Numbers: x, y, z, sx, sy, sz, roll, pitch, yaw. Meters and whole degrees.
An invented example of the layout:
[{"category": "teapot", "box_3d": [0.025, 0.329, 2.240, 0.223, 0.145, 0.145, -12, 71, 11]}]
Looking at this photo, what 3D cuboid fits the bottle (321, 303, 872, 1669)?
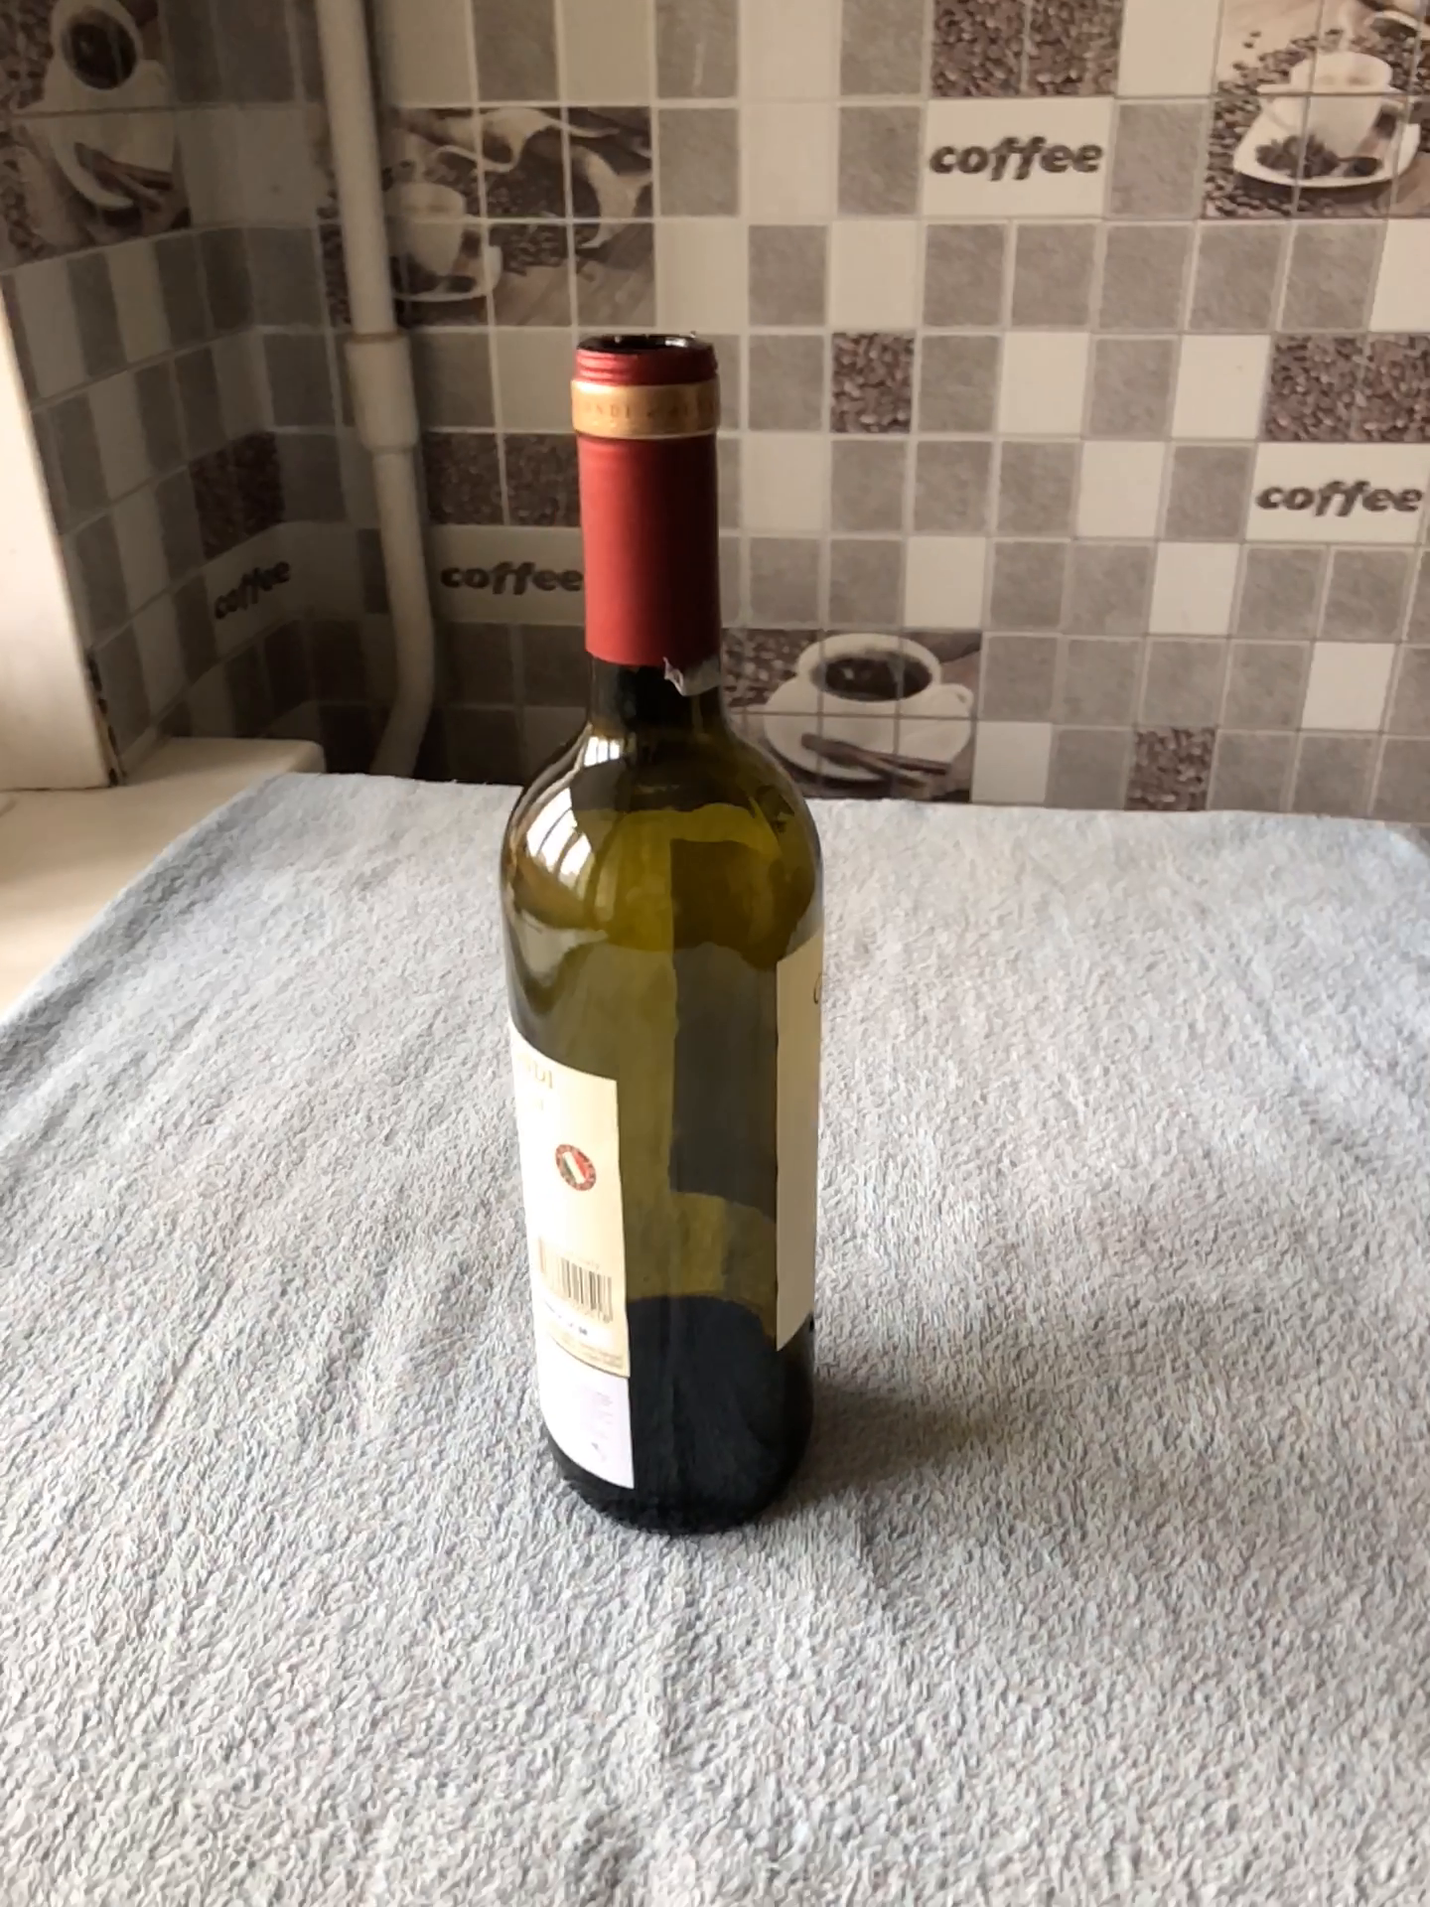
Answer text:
[{"category": "bottle", "box_3d": [-0.022, 0.018, 0.360, 0.080, 0.299, 0.080, -1, 28, 1]}]
